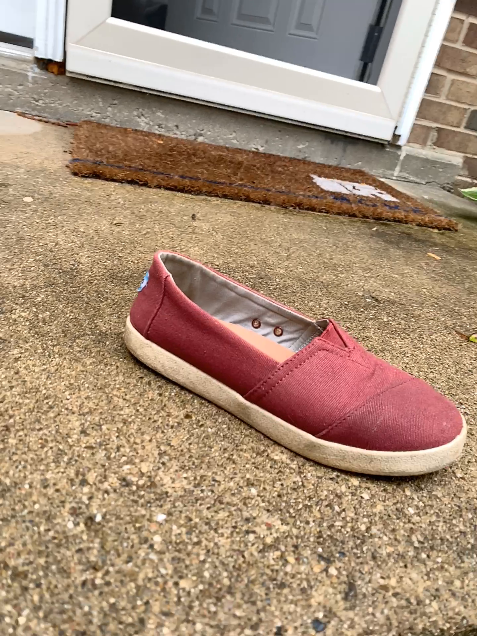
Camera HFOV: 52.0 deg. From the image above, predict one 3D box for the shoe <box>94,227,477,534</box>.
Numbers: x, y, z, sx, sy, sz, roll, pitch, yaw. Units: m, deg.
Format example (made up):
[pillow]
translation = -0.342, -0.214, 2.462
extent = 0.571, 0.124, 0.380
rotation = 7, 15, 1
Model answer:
[shoe]
translation = 0.037, 0.026, 0.355
extent = 0.265, 0.089, 0.098
rotation = 22, 27, 17
